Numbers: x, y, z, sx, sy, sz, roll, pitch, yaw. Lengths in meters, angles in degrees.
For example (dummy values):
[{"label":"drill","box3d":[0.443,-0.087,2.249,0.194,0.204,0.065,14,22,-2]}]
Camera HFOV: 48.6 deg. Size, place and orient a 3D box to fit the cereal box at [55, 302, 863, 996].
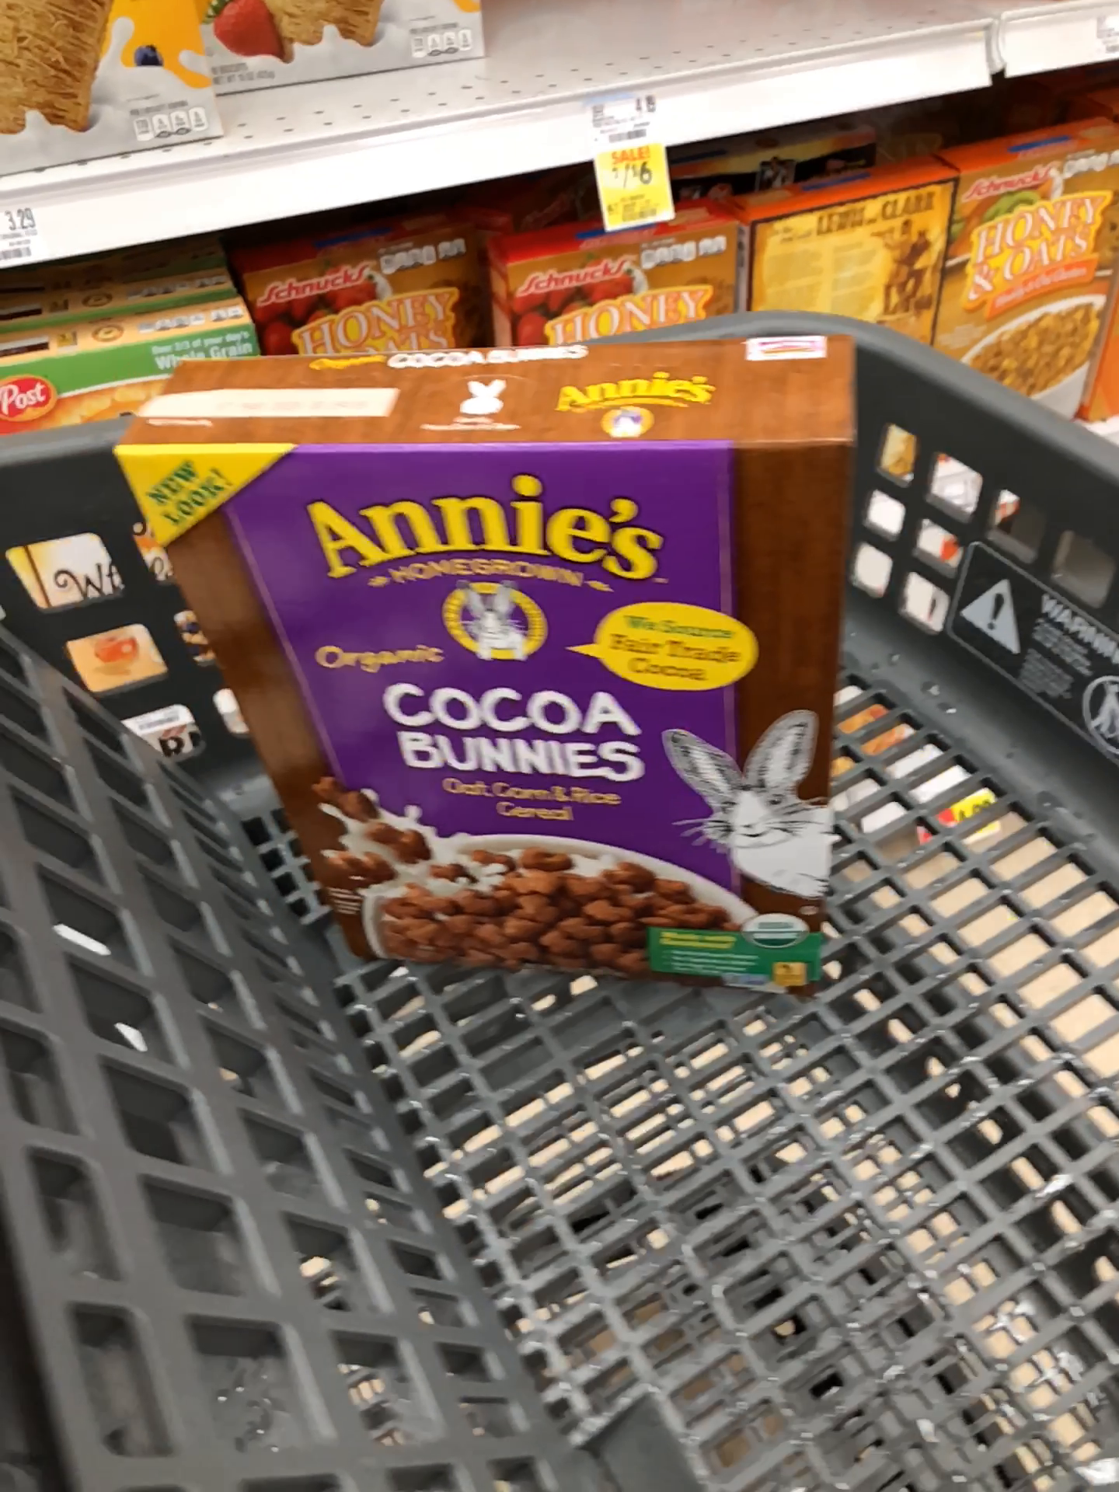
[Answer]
[{"label":"cereal box","box3d":[-0.014,-0.014,0.399,0.200,0.239,0.050,2,46,10]}]
